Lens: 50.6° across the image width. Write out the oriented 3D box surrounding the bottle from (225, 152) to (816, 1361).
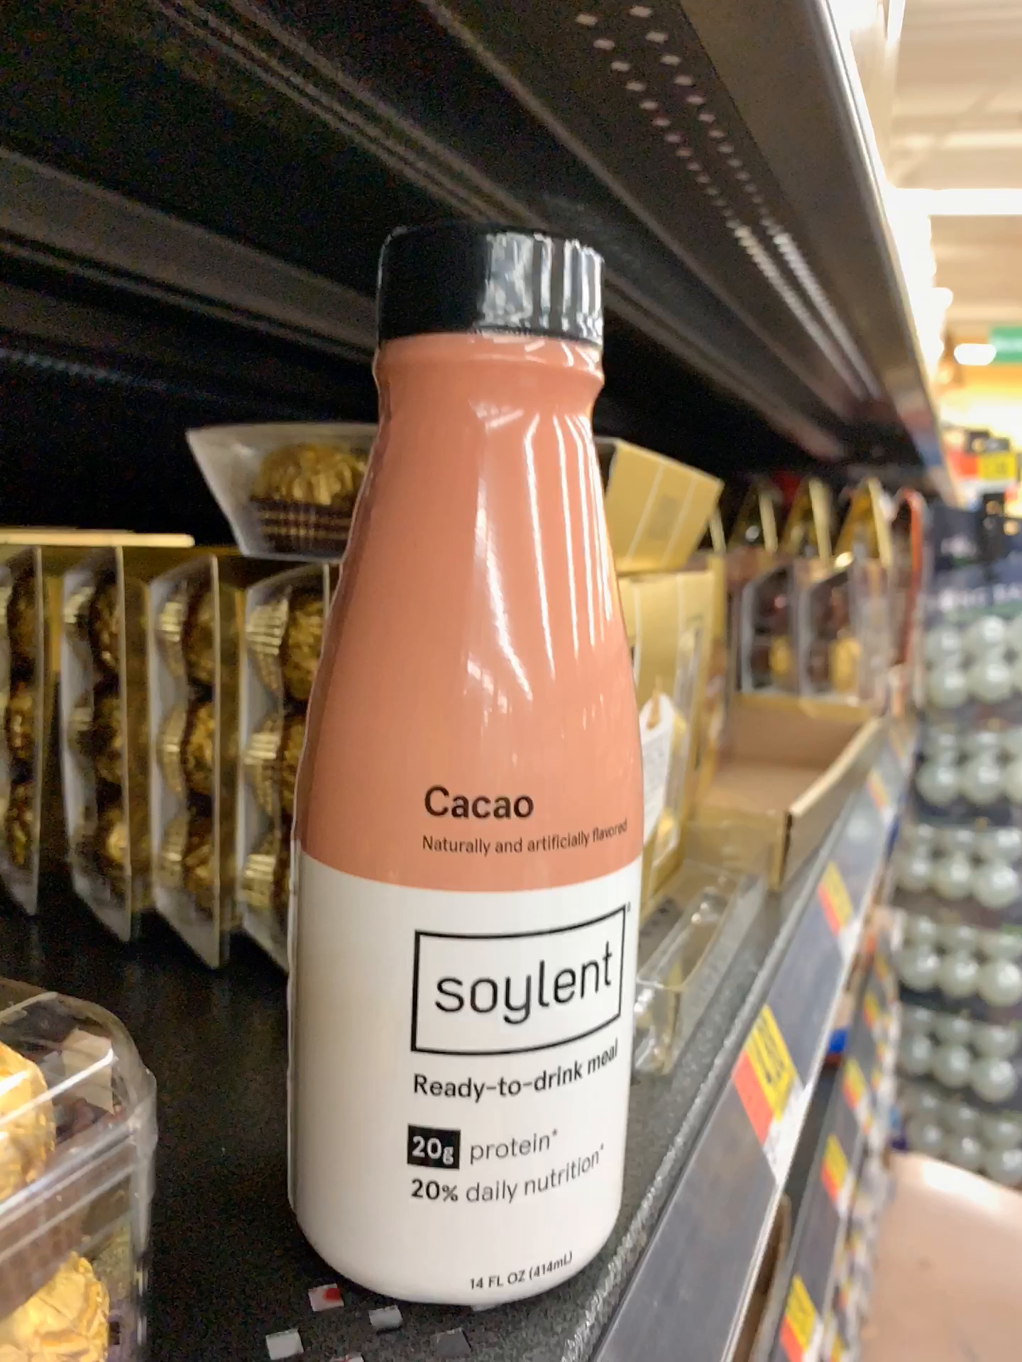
[{"bbox_3d":[-0.007,0.016,0.208,0.080,0.190,0.070,2,8,-19],"label":"bottle"}]
